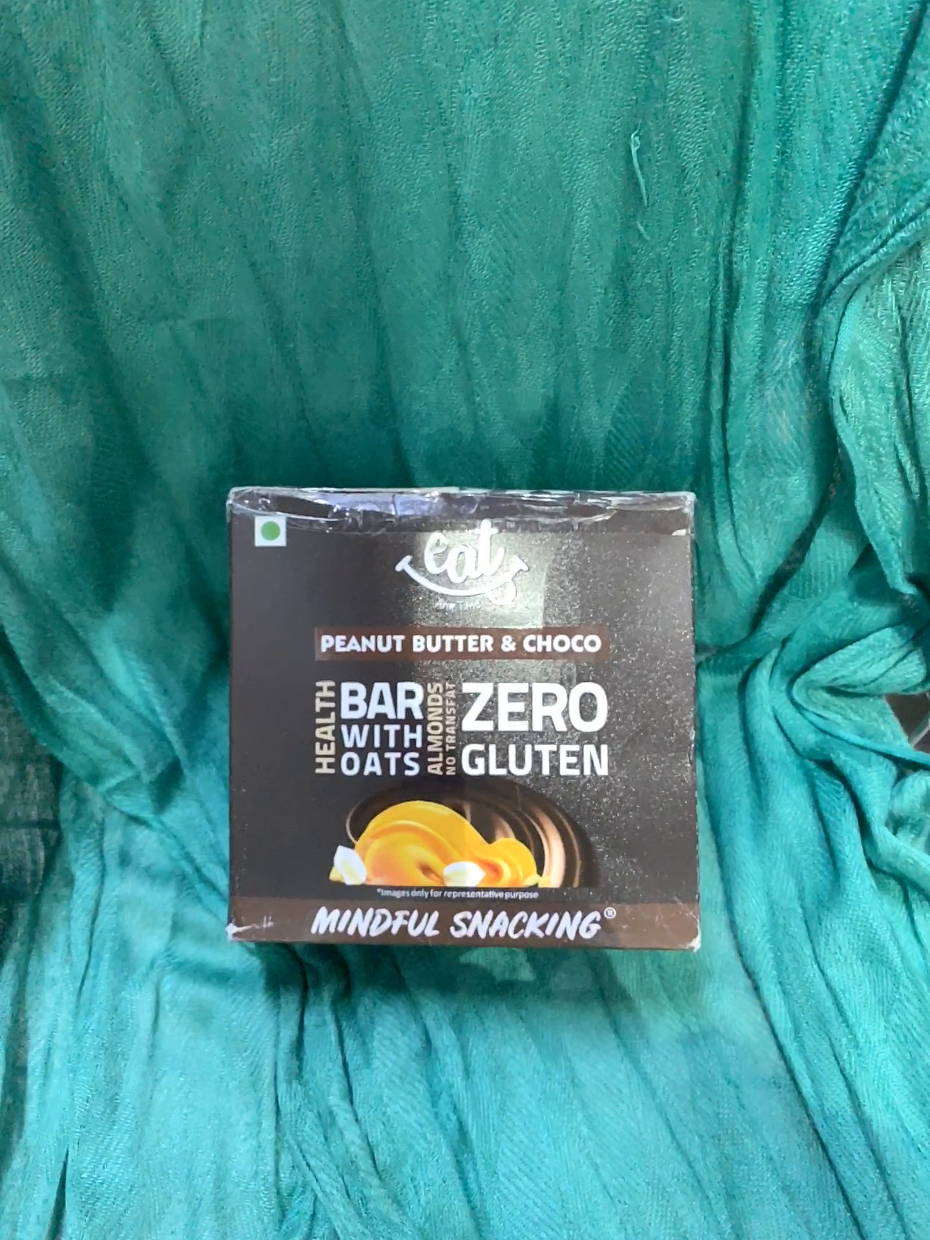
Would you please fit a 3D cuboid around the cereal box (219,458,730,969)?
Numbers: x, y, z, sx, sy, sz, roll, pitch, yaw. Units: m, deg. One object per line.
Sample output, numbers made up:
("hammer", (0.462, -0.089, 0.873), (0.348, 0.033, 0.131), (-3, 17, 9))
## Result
("cereal box", (0.004, 0.027, 0.314), (0.140, 0.090, 0.140), (0, 86, 3))
